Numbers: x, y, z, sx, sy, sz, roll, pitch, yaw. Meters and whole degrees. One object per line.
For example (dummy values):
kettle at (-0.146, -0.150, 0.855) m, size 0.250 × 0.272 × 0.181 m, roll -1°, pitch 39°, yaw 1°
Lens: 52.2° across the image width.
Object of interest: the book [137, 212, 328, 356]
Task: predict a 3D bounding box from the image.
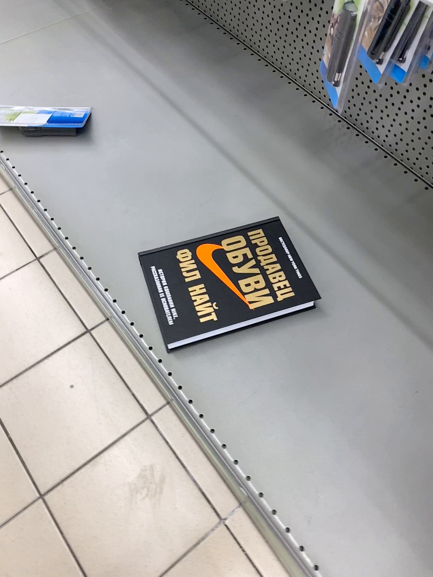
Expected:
book at (0.020, -0.014, 0.693) m, size 0.249 × 0.049 × 0.166 m, roll -15°, pitch 62°, yaw -10°
